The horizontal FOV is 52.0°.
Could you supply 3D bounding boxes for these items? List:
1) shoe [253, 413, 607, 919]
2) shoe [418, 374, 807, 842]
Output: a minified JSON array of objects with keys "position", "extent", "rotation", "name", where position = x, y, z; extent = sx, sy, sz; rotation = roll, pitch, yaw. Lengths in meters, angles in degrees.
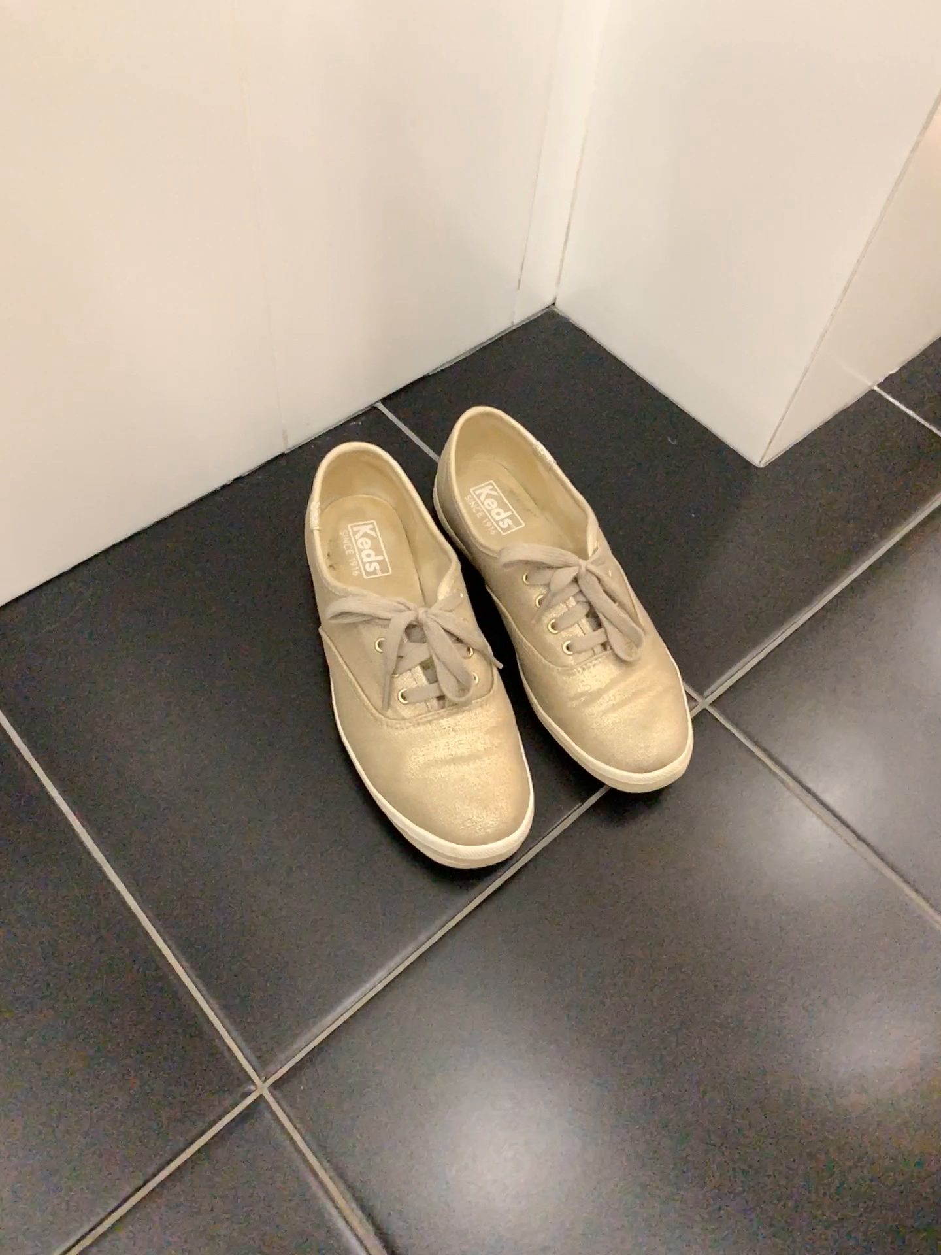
[{"position":[-0.032,0.013,0.502],"extent":[0.090,0.100,0.231],"rotation":[-17,60,-17],"name":"shoe"},{"position":[0.063,-0.017,0.536],"extent":[0.090,0.100,0.231],"rotation":[-20,61,-19],"name":"shoe"}]
